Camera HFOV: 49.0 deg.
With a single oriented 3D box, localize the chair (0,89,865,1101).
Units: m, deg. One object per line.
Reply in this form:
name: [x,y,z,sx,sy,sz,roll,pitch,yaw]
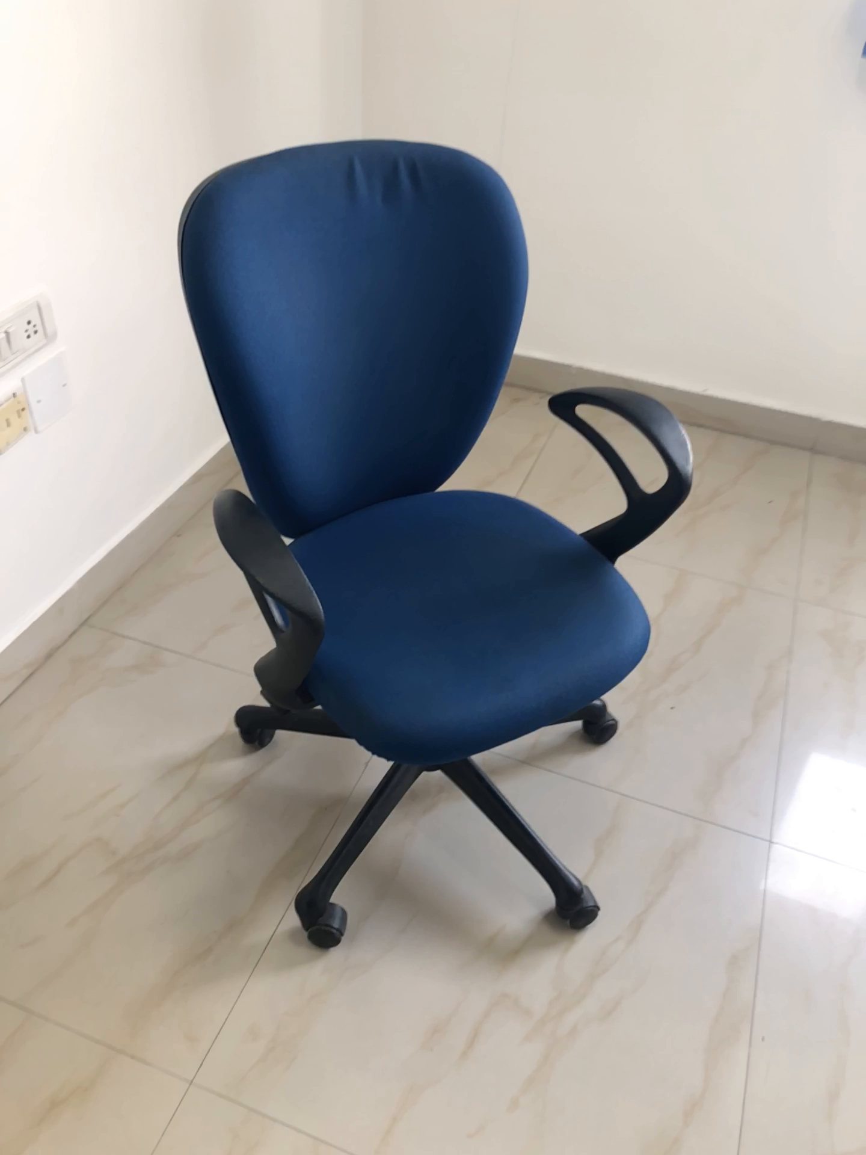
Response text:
chair: [0.005,-0.019,1.233,0.701,0.914,0.653,26,44,26]
